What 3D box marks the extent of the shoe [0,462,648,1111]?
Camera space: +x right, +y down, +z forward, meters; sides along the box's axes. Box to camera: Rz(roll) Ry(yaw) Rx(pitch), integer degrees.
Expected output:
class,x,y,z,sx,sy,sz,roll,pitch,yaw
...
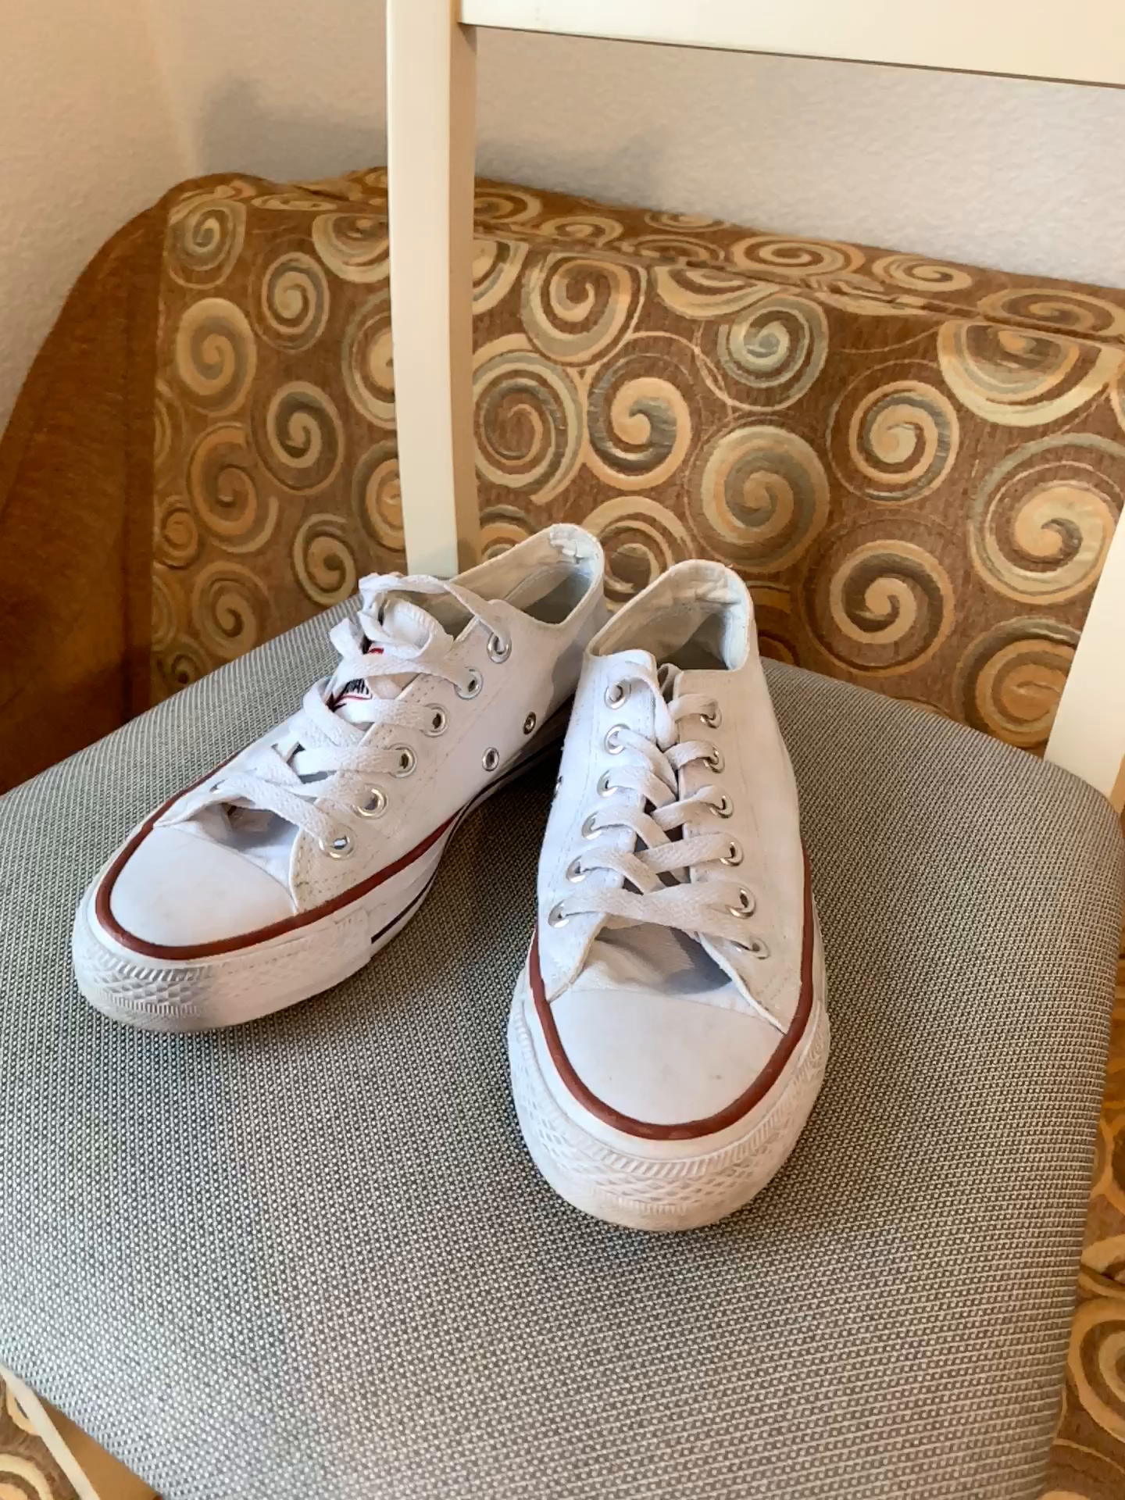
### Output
class,x,y,z,sx,sy,sz,roll,pitch,yaw
shoe,-0.067,-0.006,0.373,0.090,0.060,0.221,23,49,25

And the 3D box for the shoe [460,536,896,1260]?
class,x,y,z,sx,sy,sz,roll,pitch,yaw
shoe,0.032,0.024,0.341,0.090,0.060,0.221,1,43,4
